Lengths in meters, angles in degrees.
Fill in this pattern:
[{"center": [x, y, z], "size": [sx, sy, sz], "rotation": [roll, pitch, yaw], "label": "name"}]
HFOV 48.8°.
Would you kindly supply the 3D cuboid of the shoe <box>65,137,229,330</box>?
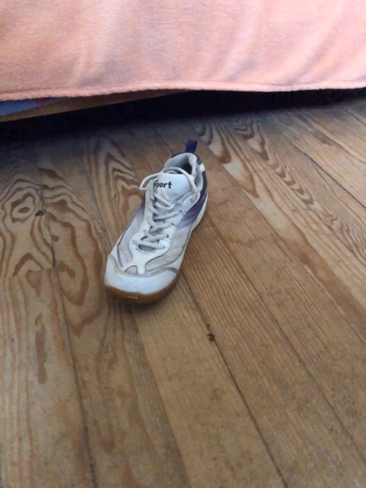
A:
[{"center": [-0.030, -0.032, 0.547], "size": [0.110, 0.099, 0.262], "rotation": [13, 45, 16], "label": "shoe"}]
